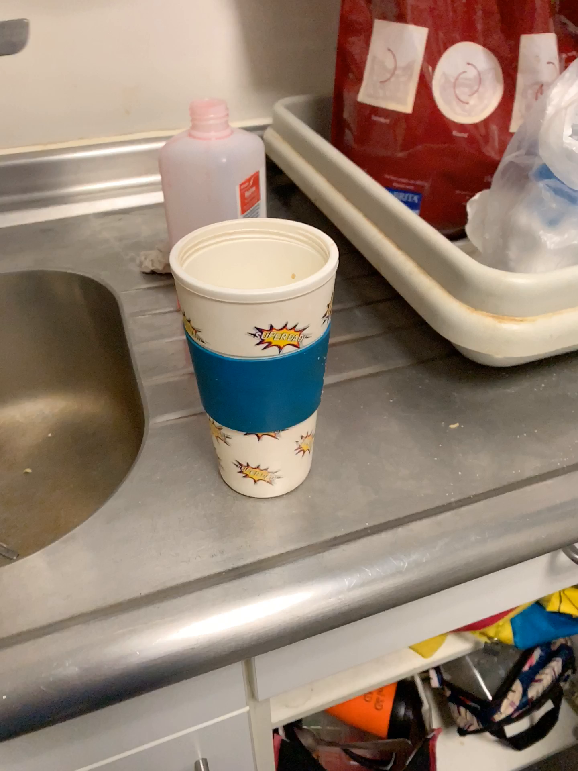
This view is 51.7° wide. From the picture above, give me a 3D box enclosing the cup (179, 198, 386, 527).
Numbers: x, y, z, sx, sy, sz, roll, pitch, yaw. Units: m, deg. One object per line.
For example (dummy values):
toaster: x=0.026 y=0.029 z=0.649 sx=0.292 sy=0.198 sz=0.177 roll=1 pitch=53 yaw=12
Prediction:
cup: x=-0.007 y=-0.013 z=0.368 sx=0.089 sy=0.167 sz=0.093 roll=-1 pitch=38 yaw=0
